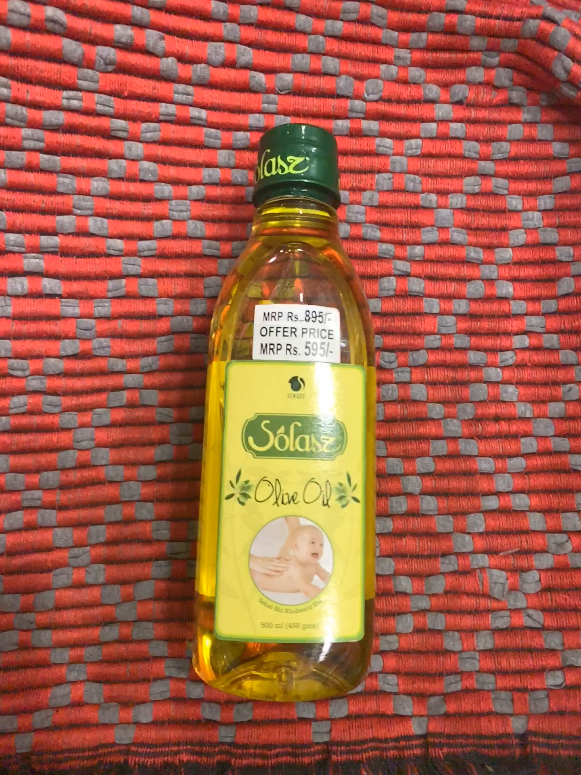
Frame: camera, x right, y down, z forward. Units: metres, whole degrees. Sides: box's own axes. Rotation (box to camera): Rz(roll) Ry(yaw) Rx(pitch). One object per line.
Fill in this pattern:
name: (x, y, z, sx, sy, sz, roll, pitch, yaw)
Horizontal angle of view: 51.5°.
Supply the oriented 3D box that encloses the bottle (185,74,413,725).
bottle: (0.005, -0.001, 0.233, 0.070, 0.060, 0.220, 2, 80, -1)
